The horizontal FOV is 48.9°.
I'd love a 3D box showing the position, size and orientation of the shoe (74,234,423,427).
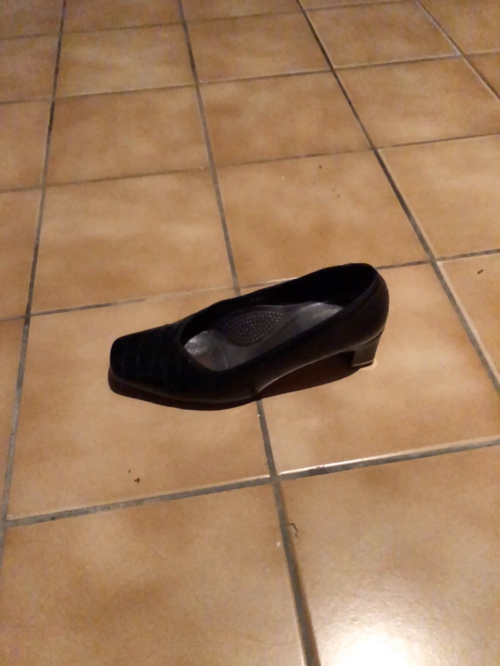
[{"bbox_3d":[-0.003,-0.003,0.458,0.250,0.090,0.100,-6,52,-3],"label":"shoe"}]
